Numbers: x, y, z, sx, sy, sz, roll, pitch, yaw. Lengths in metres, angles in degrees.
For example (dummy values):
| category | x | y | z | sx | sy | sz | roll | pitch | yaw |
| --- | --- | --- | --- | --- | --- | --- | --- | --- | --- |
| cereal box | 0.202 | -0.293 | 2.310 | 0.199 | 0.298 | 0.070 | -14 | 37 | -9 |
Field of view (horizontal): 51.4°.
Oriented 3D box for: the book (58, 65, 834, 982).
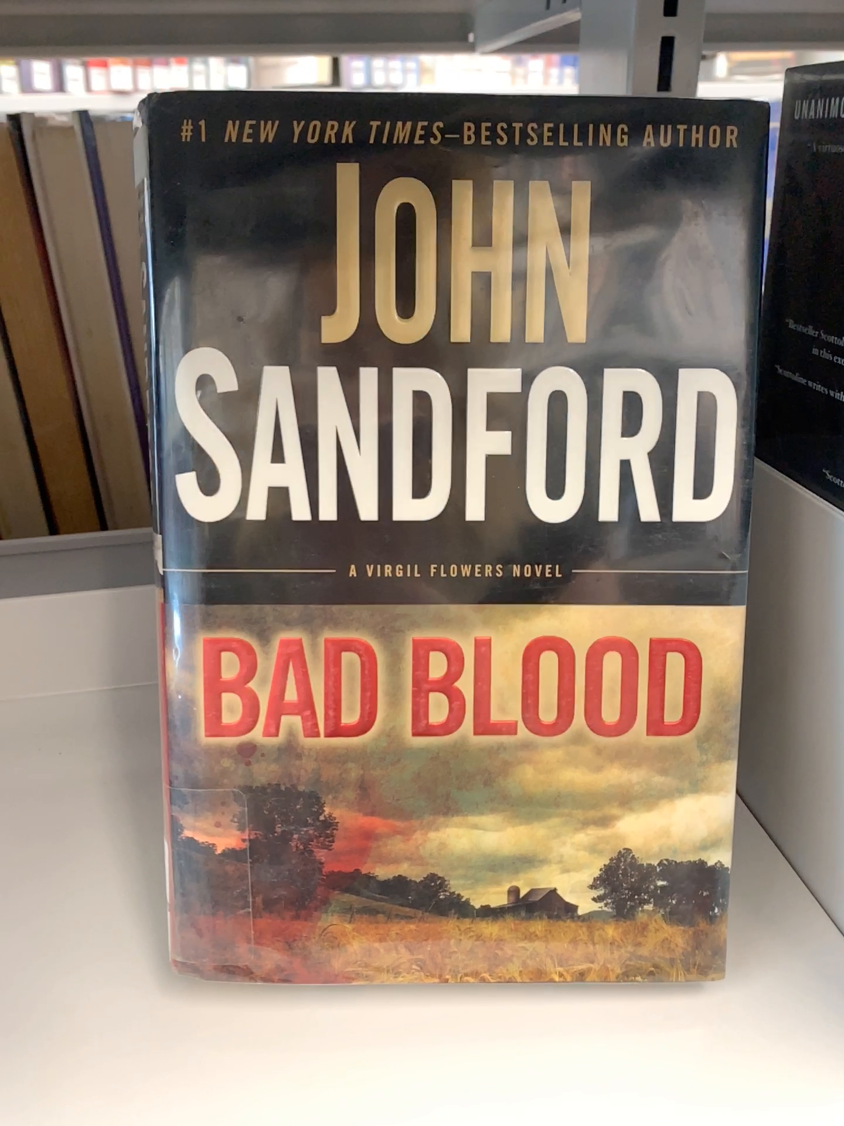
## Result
| category | x | y | z | sx | sy | sz | roll | pitch | yaw |
| --- | --- | --- | --- | --- | --- | --- | --- | --- | --- |
| book | 0.007 | -0.003 | 0.231 | 0.165 | 0.215 | 0.050 | -1 | 11 | 1 |
